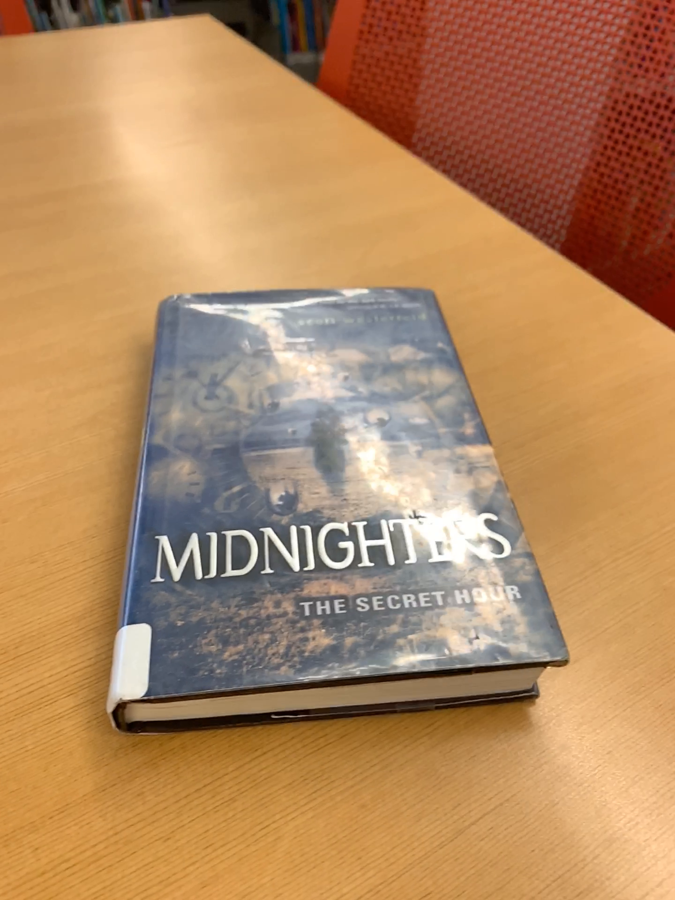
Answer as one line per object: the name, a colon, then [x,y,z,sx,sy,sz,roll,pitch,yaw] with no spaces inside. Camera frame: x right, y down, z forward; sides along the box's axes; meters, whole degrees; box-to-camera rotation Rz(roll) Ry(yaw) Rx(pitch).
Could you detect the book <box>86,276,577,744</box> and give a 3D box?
book: [-0.012,0.003,0.303,0.150,0.040,0.215,-3,46,-6]
